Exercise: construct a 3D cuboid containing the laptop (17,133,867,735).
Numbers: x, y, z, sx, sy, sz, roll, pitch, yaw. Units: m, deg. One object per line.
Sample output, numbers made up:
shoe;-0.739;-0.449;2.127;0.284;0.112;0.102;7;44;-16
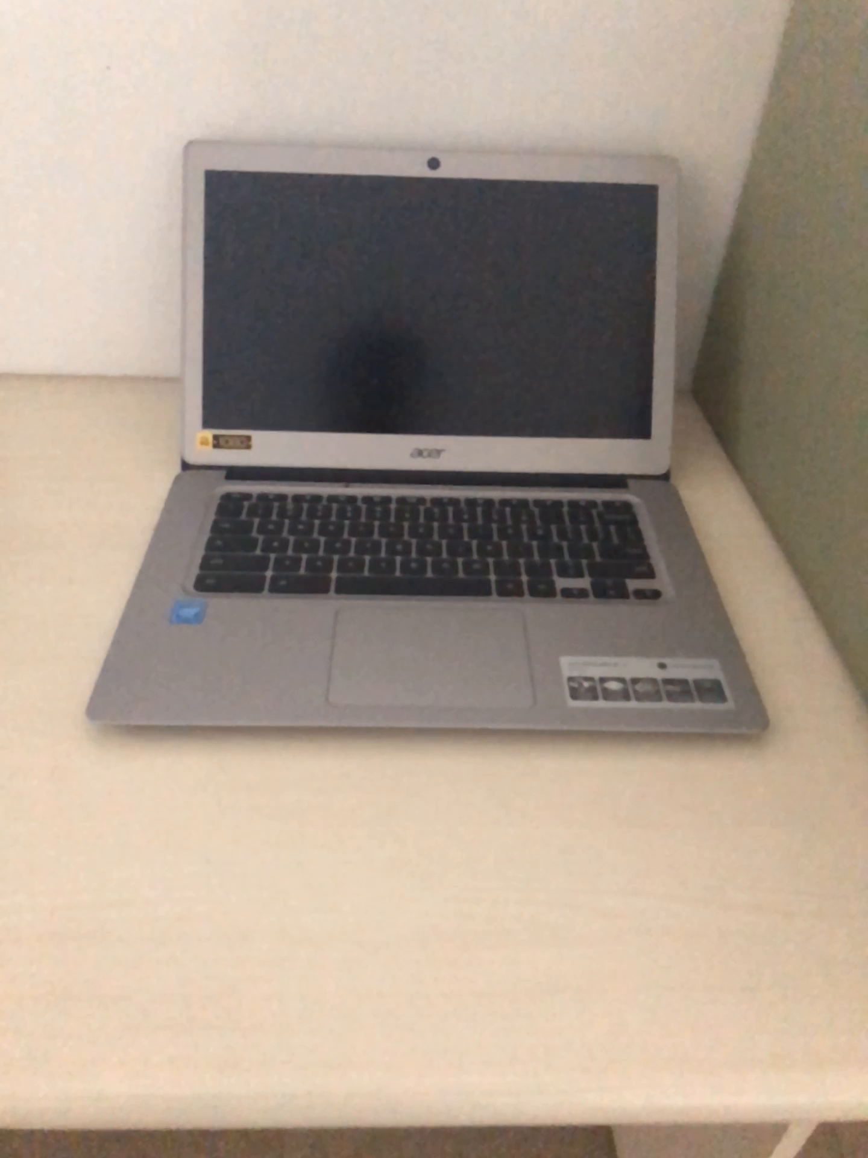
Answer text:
laptop;-0.001;-0.111;0.549;0.322;0.168;0.368;2;38;-3
